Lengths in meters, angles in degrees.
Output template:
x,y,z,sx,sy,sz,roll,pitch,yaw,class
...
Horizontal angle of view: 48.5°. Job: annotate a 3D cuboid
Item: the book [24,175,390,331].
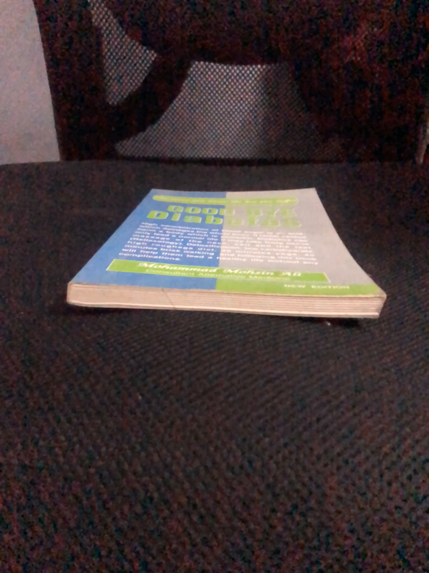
x,y,z,sx,sy,sz,roll,pitch,yaw,class
0.002,-0.039,0.305,0.150,0.020,0.231,2,23,2,book
